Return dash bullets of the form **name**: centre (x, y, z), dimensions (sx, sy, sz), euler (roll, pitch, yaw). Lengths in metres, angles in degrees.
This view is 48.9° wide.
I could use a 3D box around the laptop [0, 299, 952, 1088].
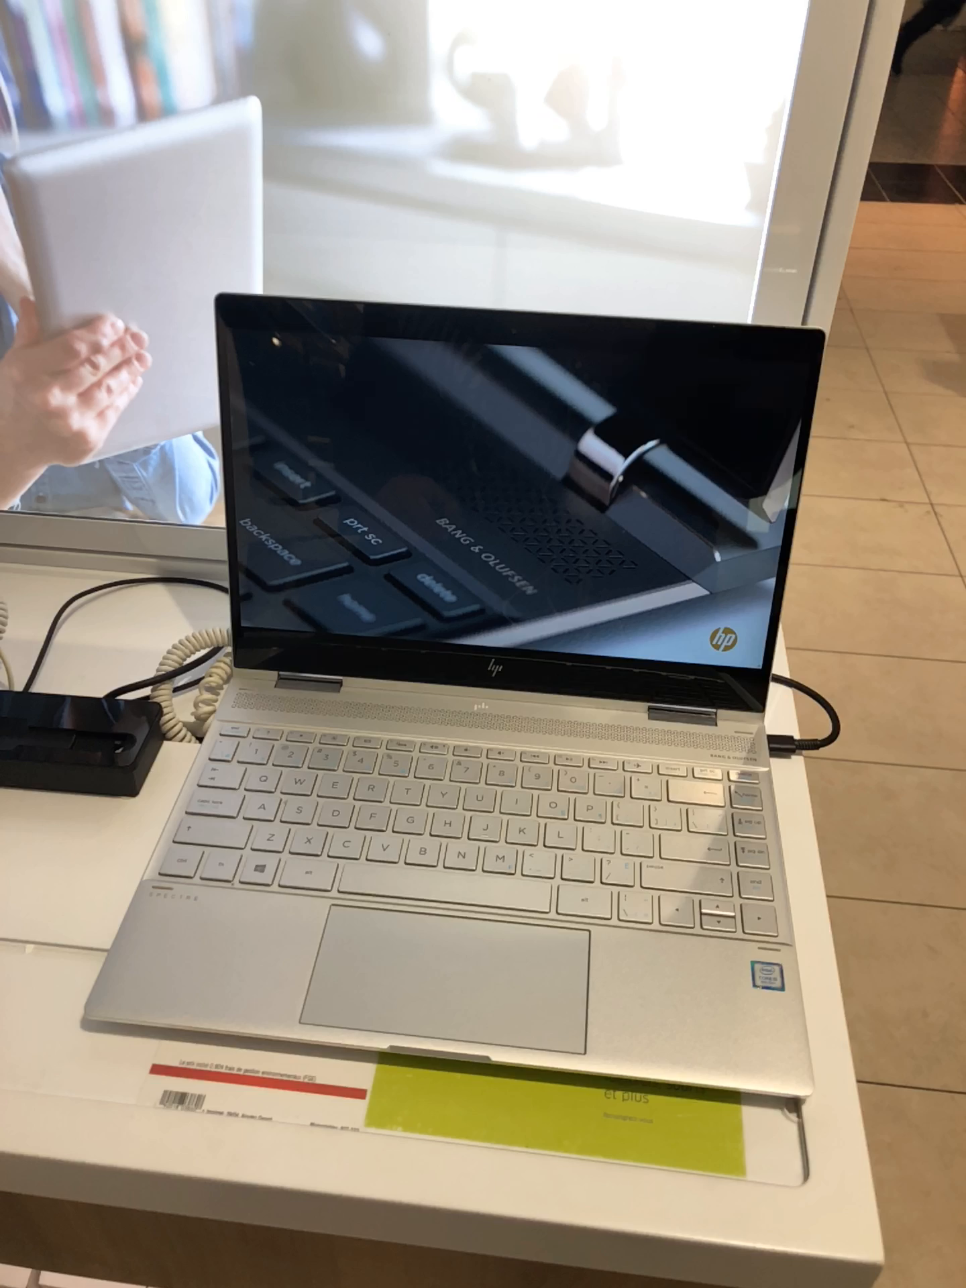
- **laptop**: centre (0.000, 0.000, 0.481), dimensions (0.299, 0.193, 0.283), euler (4, 39, 5)
